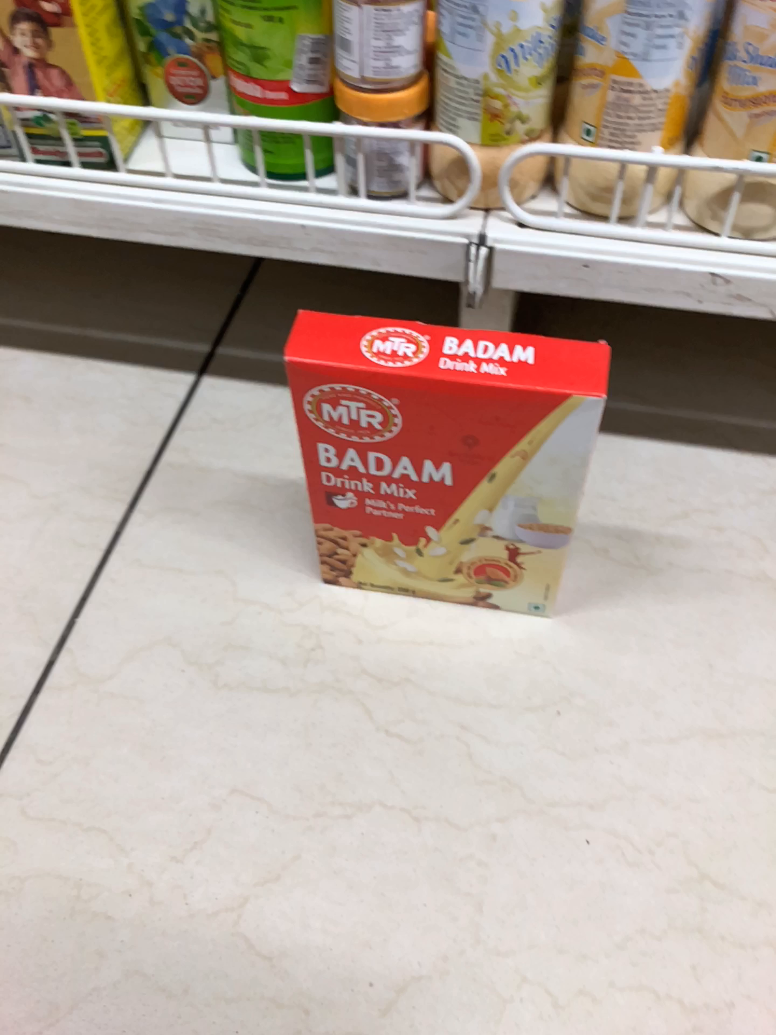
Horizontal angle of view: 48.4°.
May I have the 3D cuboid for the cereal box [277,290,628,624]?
[{"bbox_3d":[0.027,-0.019,0.393,0.130,0.159,0.040,7,53,7],"label":"cereal box"}]
